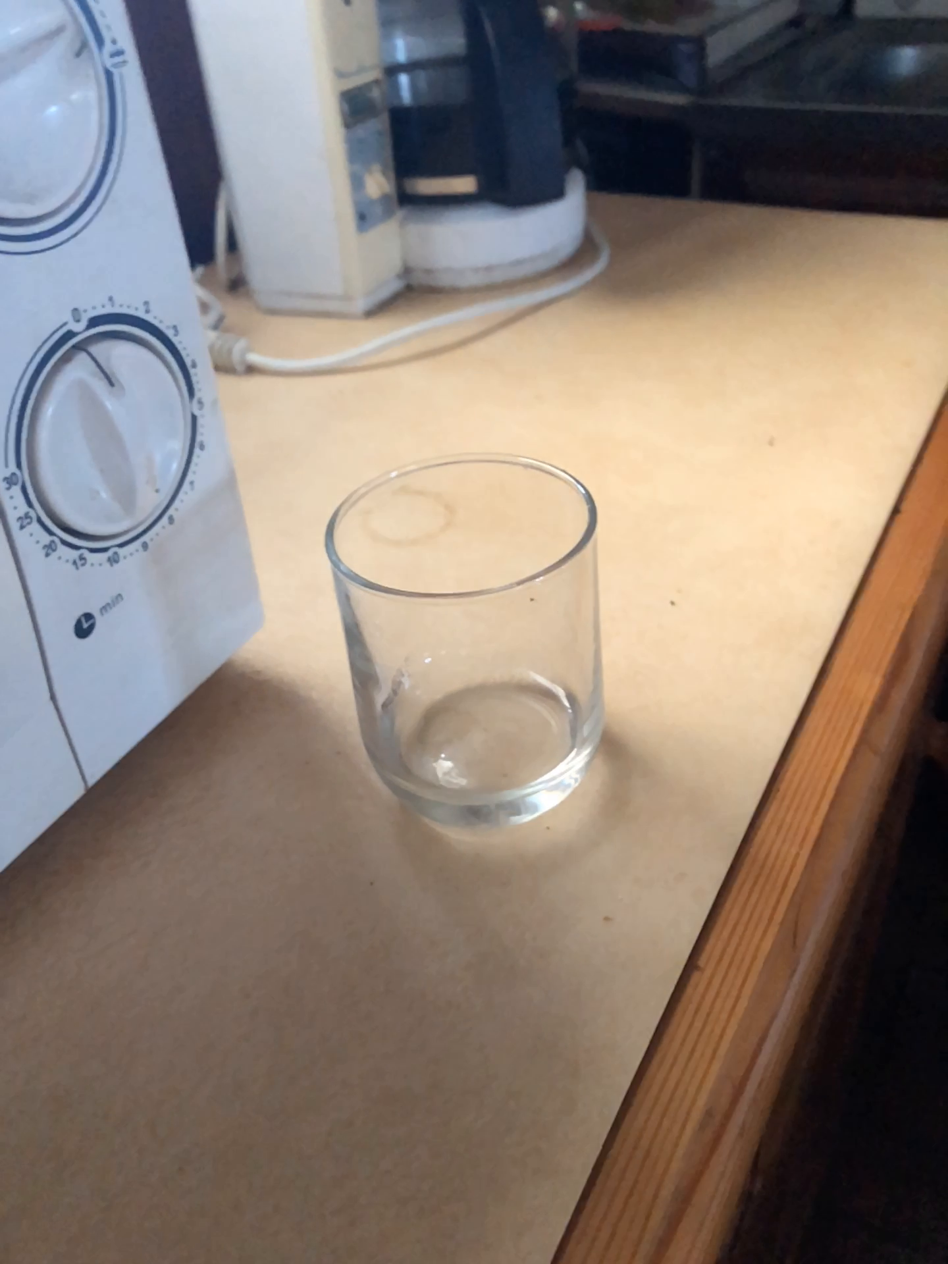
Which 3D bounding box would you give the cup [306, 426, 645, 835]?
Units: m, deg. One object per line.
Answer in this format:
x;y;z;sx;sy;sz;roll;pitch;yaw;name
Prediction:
0.002;-0.002;0.266;0.070;0.070;0.070;-3;37;3;cup
